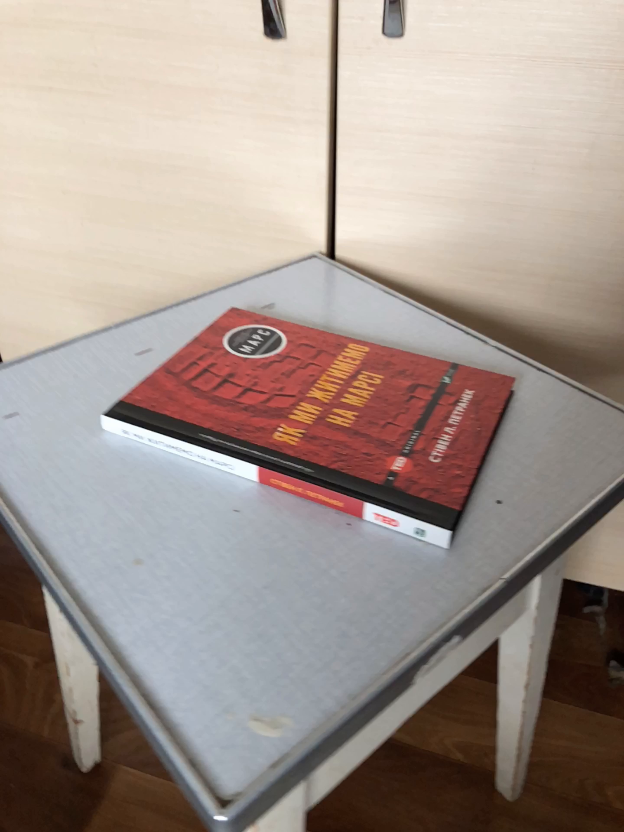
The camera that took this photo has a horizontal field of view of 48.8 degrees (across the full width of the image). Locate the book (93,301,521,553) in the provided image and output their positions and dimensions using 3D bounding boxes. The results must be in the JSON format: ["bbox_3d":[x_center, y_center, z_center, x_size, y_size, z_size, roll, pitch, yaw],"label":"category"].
[{"bbox_3d":[0.002,-0.009,0.416,0.214,0.015,0.147,17,40,20],"label":"book"}]
